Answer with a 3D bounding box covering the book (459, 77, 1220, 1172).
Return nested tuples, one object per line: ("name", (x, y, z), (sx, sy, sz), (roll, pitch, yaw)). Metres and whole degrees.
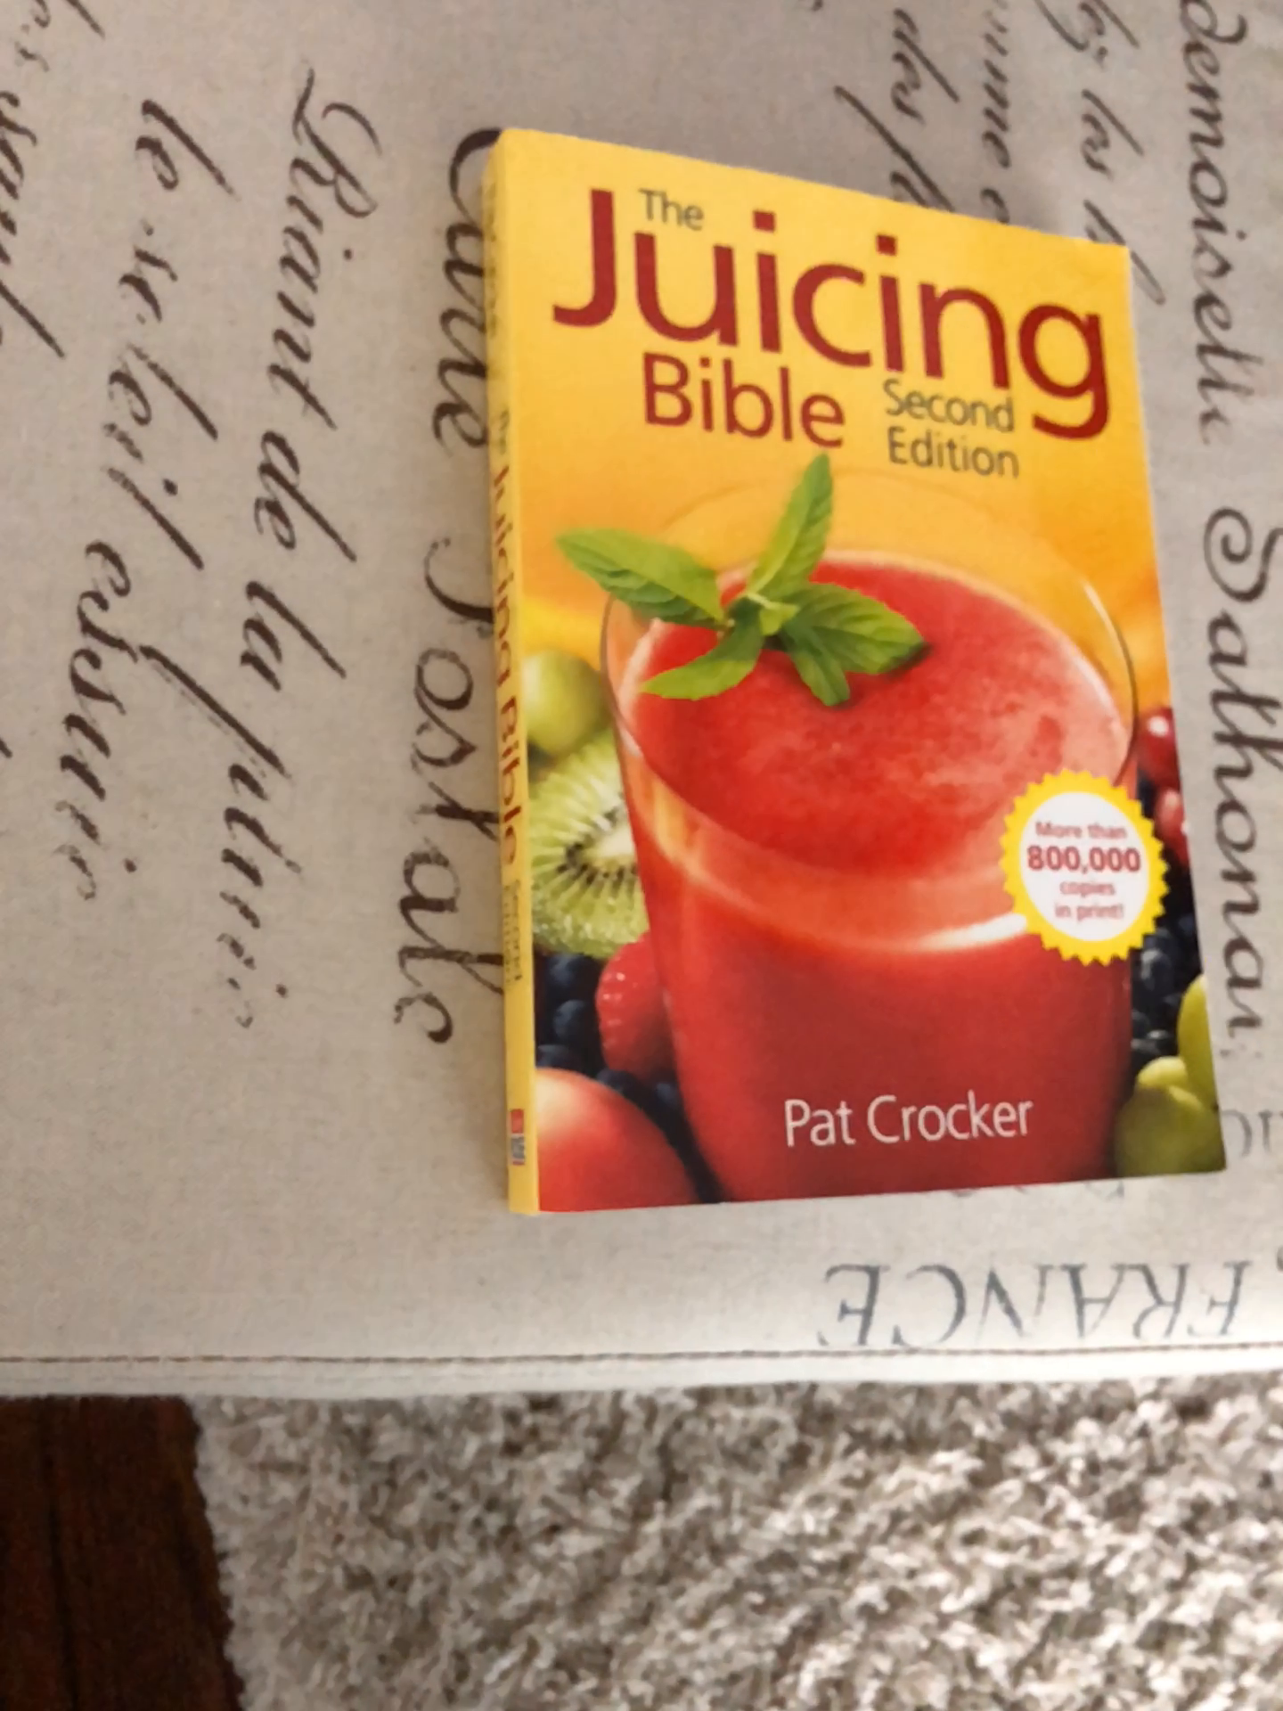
("book", (0.047, -0.053, 0.358), (0.180, 0.030, 0.250), (2, 79, -19))
